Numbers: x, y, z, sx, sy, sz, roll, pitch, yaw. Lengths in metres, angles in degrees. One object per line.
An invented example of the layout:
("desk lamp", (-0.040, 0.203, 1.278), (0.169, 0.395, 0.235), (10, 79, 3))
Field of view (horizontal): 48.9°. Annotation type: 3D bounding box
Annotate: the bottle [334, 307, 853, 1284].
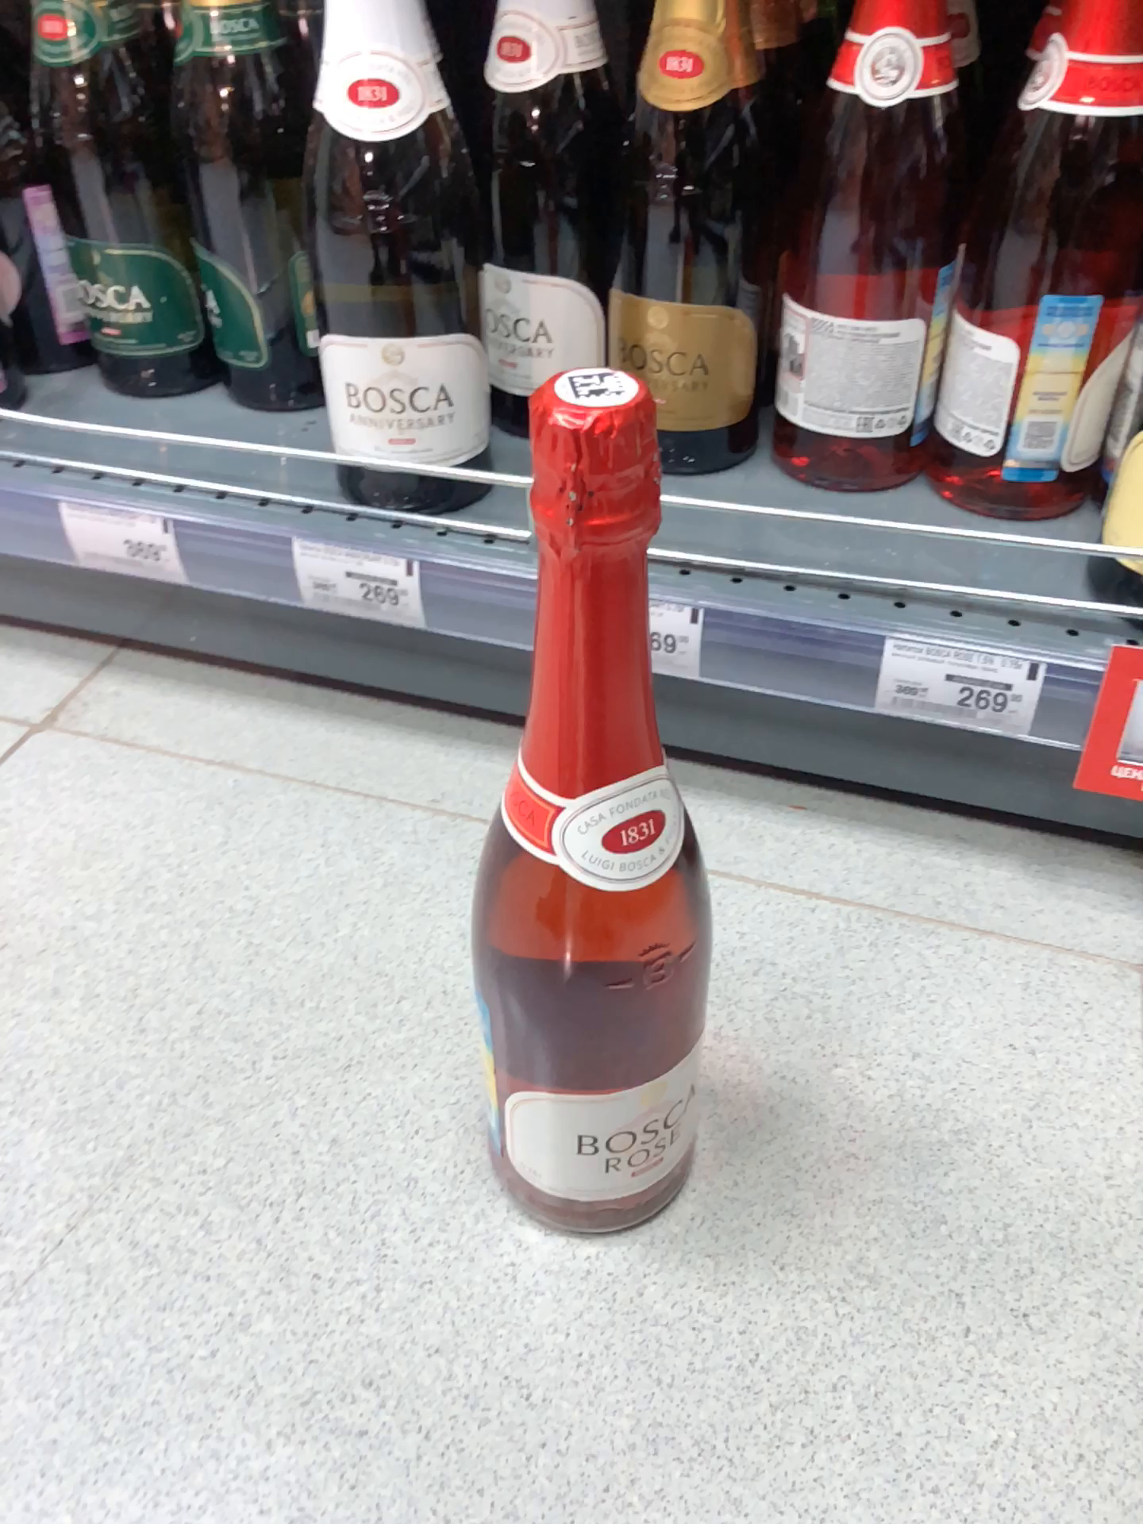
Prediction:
("bottle", (0.003, 0.031, 0.420), (0.100, 0.317, 0.100), (-1, 39, 0))
